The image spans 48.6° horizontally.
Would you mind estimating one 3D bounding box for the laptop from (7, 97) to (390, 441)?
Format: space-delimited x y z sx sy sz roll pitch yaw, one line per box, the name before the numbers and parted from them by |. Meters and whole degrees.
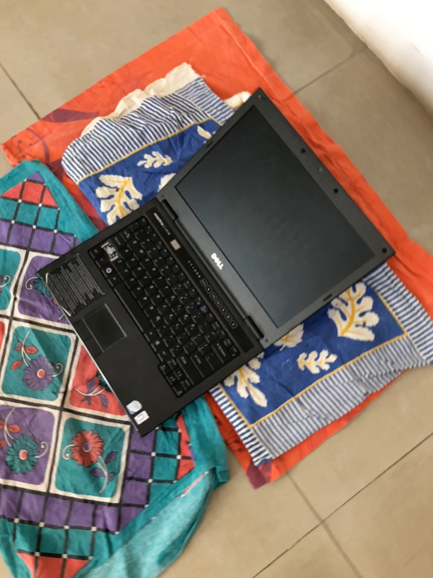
laptop | -0.023 -0.036 0.711 0.420 0.125 0.306 -34 78 -9
